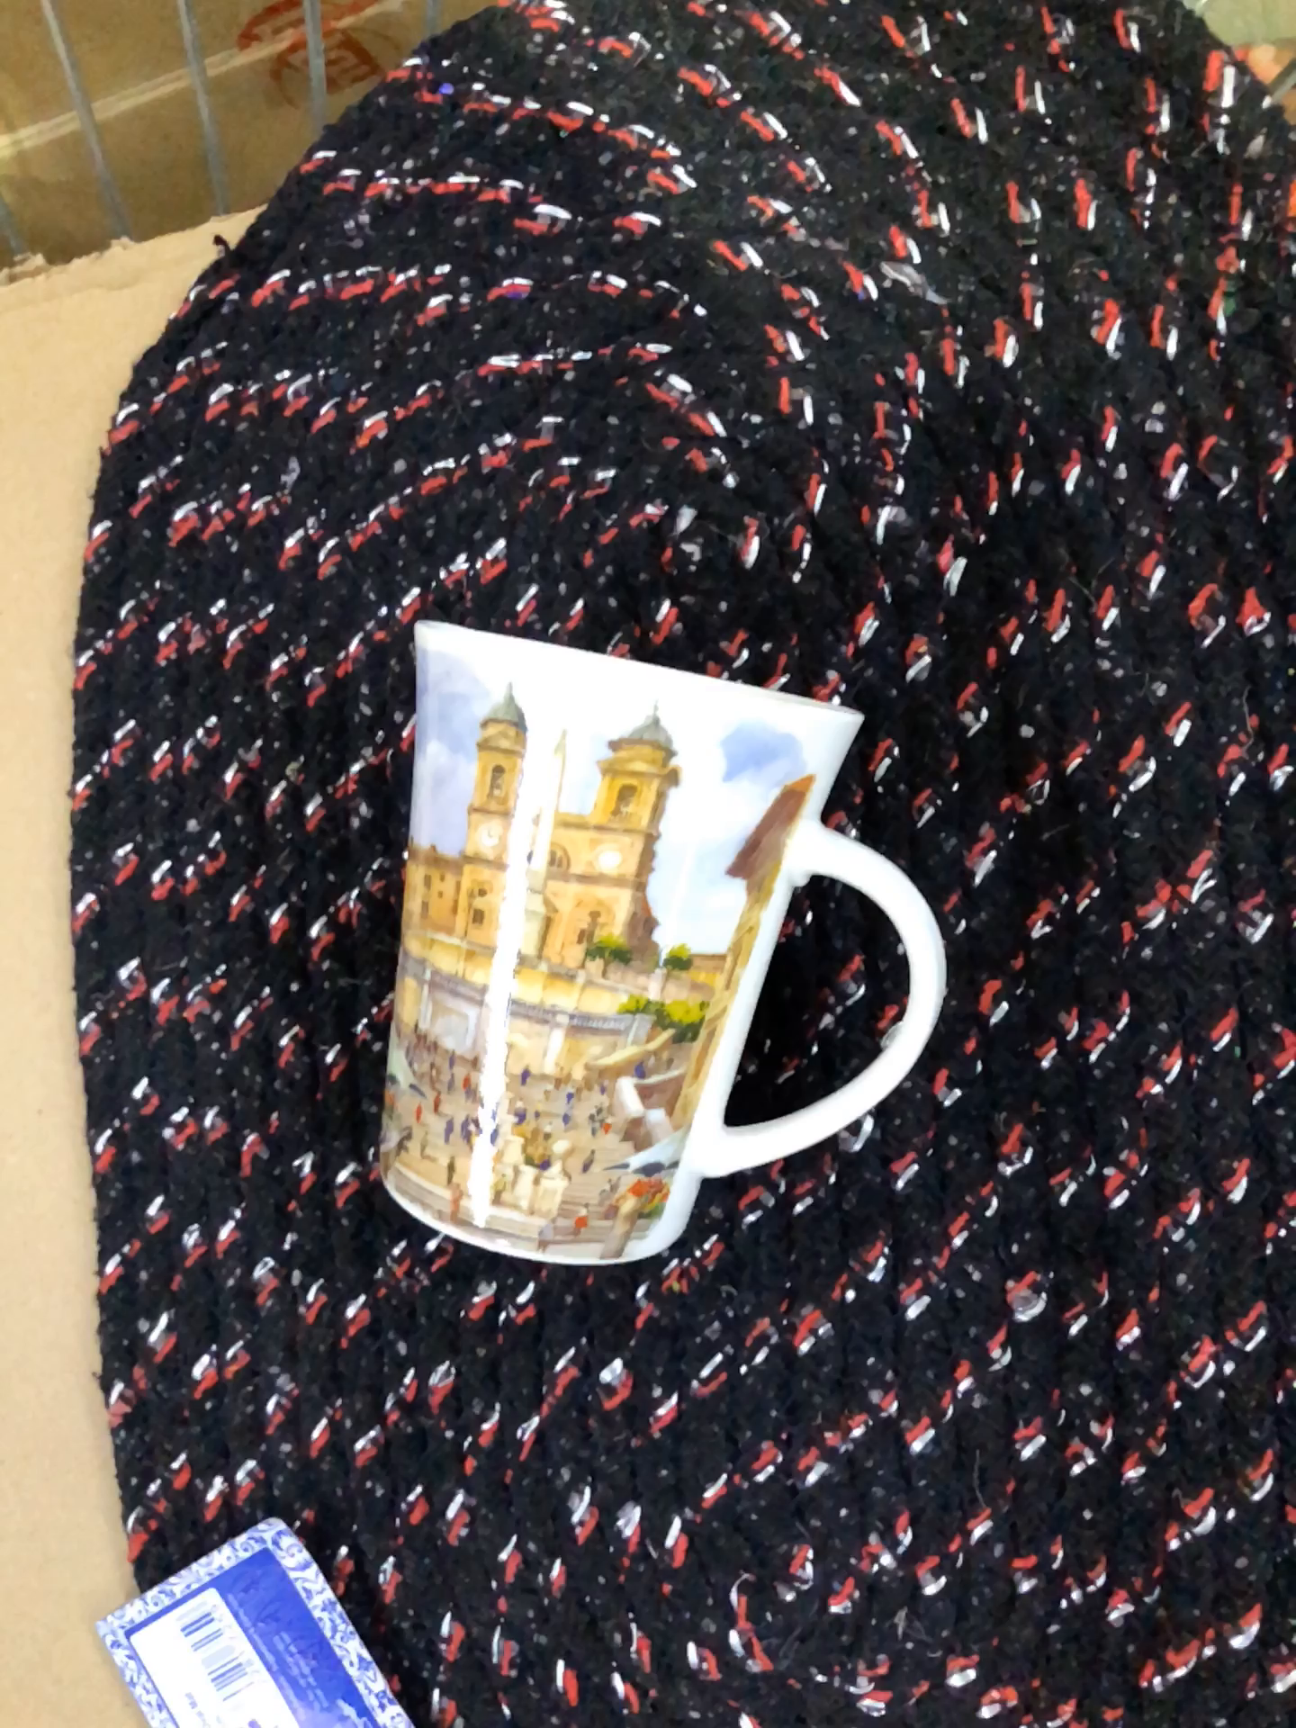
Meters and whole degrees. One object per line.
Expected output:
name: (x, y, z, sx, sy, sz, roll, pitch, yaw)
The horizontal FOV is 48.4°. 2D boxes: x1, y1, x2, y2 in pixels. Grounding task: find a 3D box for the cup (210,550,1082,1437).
cup: (0.002, 0.015, 0.257, 0.110, 0.090, 0.110, 1, 95, 9)
